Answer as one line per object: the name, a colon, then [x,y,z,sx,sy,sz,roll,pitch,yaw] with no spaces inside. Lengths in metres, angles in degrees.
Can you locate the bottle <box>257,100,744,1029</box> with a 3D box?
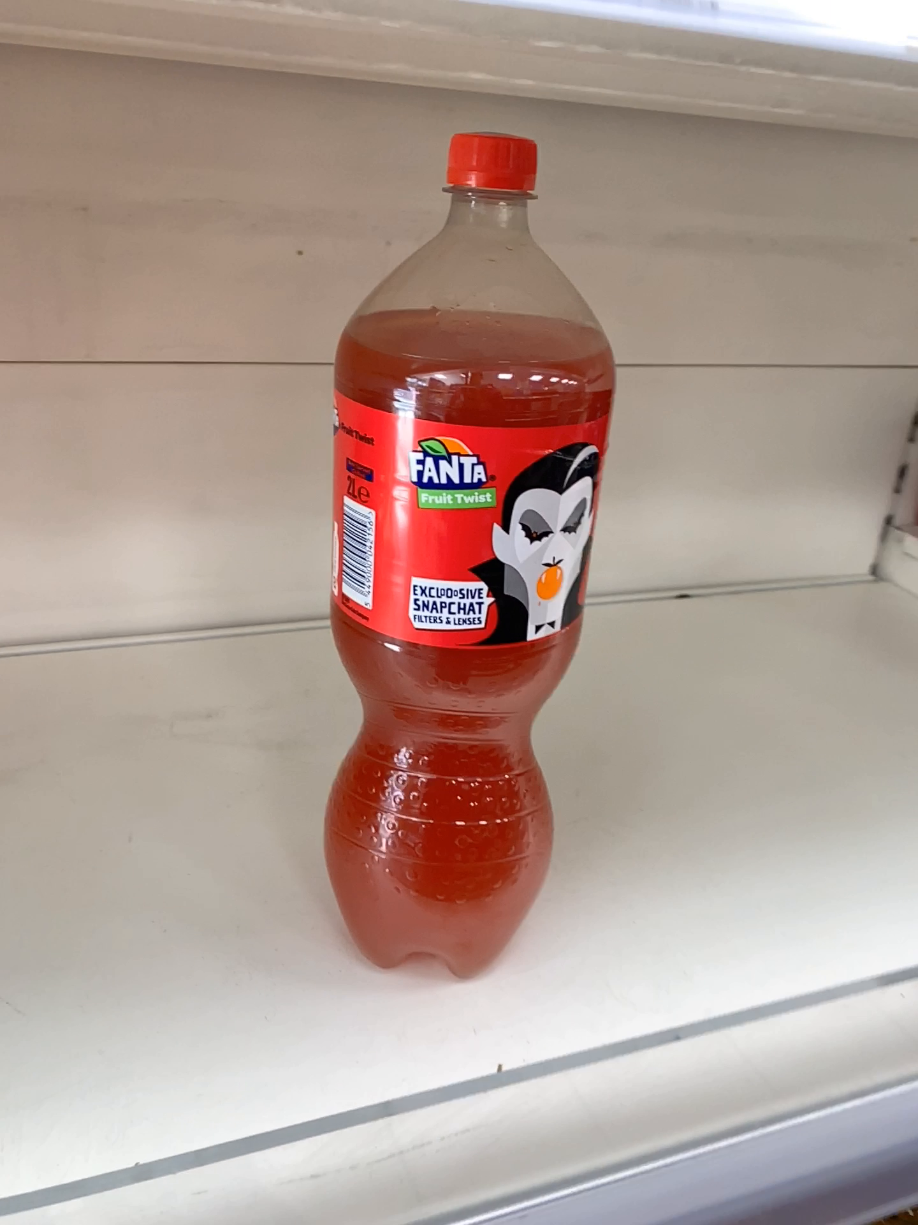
bottle: [-0.003,-0.013,0.377,0.120,0.327,0.111,4,25,-2]
